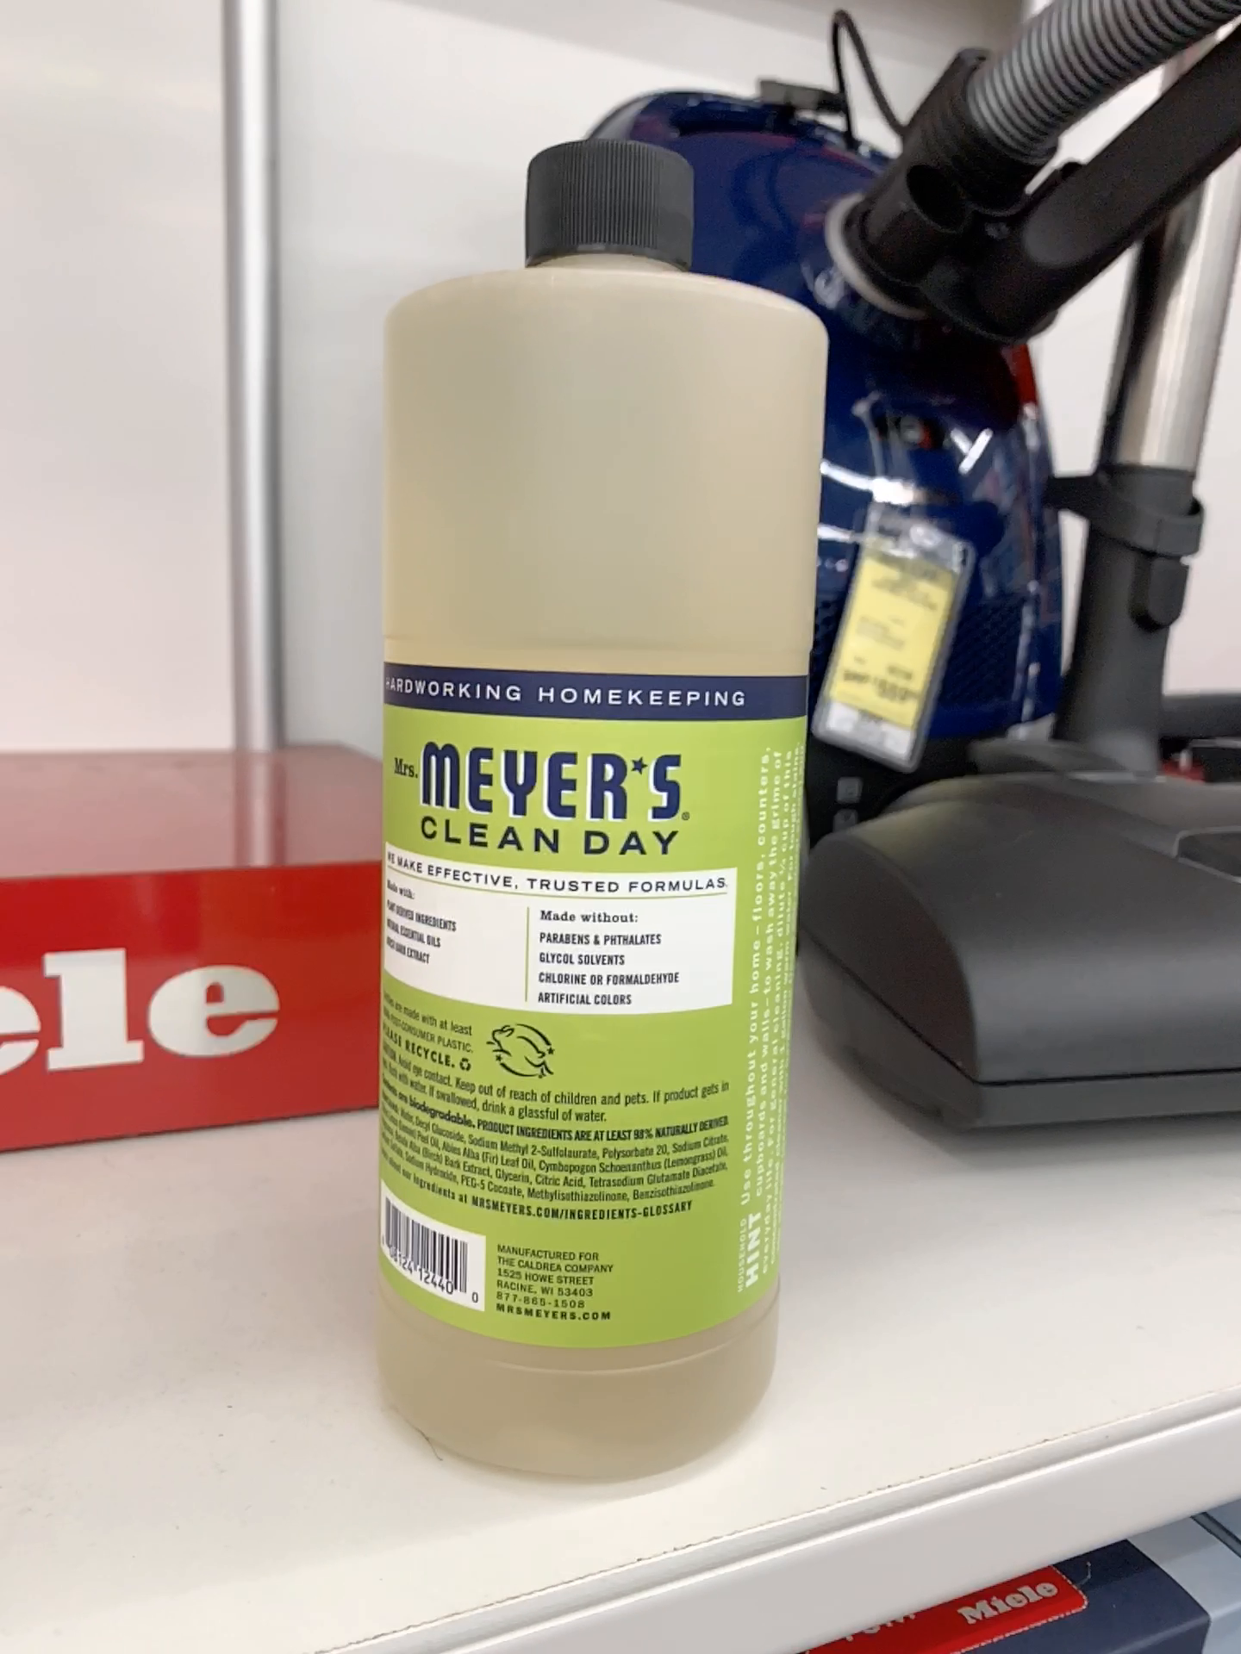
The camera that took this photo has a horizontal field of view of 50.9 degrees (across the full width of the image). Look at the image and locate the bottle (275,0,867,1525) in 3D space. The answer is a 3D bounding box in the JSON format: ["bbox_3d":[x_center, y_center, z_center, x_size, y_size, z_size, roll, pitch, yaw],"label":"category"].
[{"bbox_3d":[-0.004,-0.010,0.255,0.090,0.240,0.090,1,8,0],"label":"bottle"}]
